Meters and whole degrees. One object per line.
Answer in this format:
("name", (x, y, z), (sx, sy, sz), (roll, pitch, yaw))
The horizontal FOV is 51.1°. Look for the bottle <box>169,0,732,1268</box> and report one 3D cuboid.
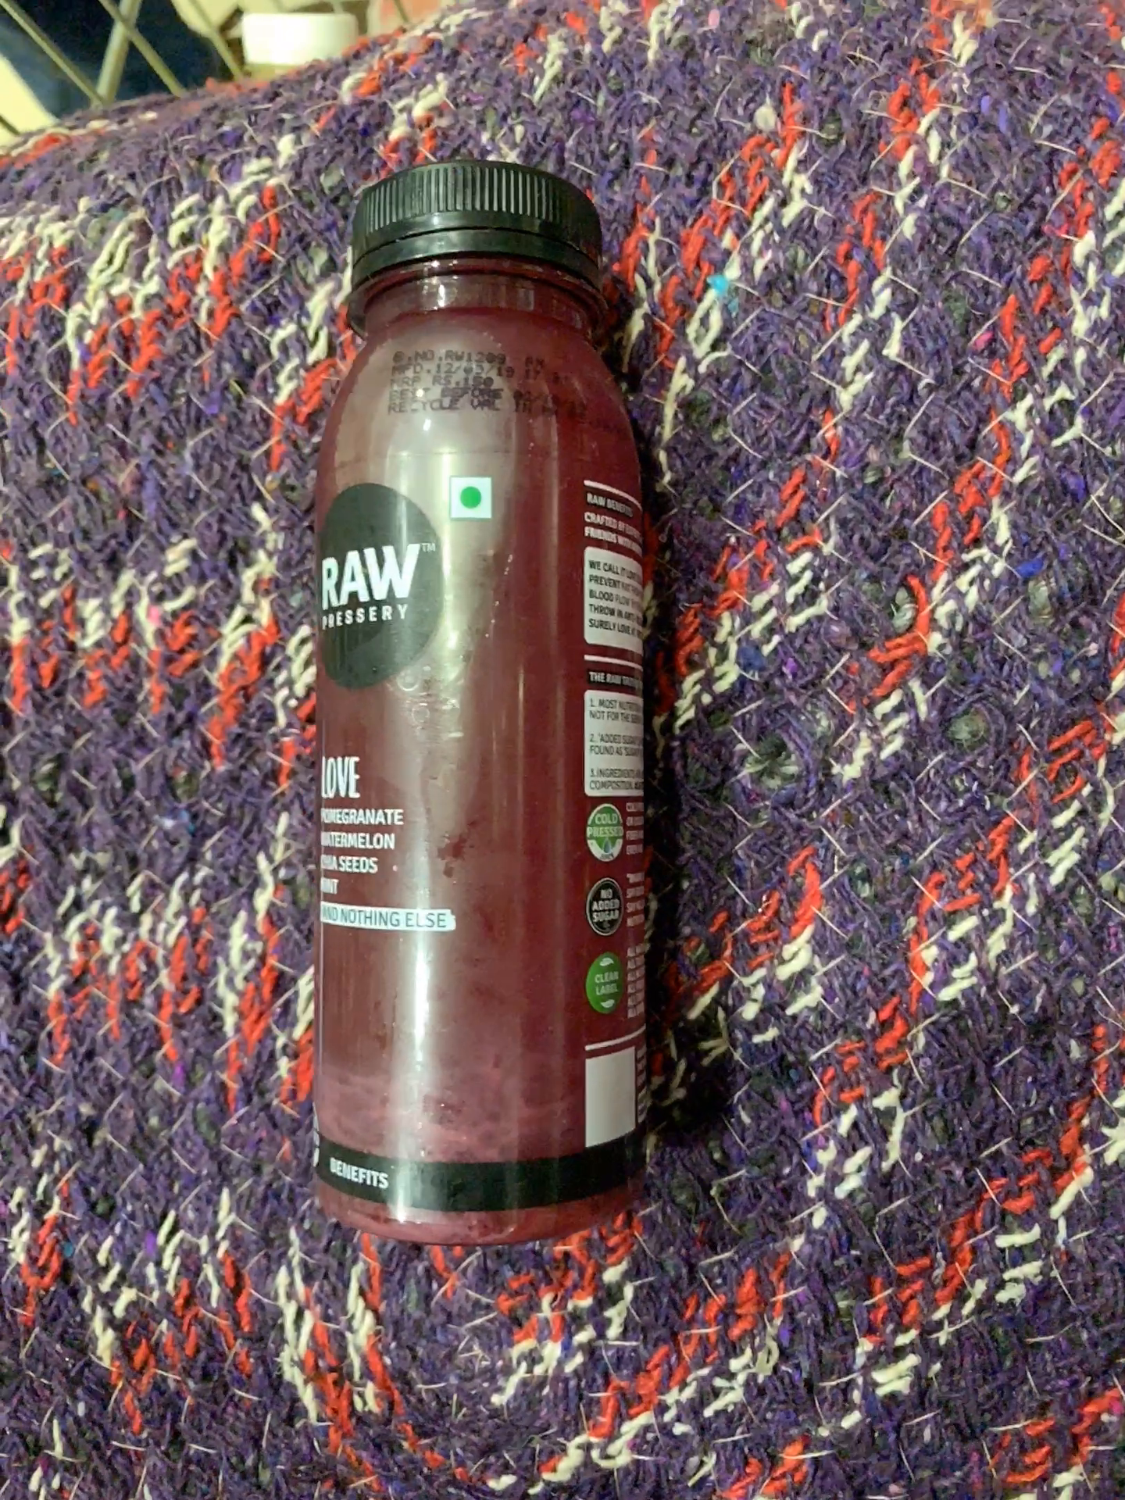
("bottle", (-0.015, -0.022, 0.183), (0.060, 0.060, 0.170), (-3, 85, 37))
